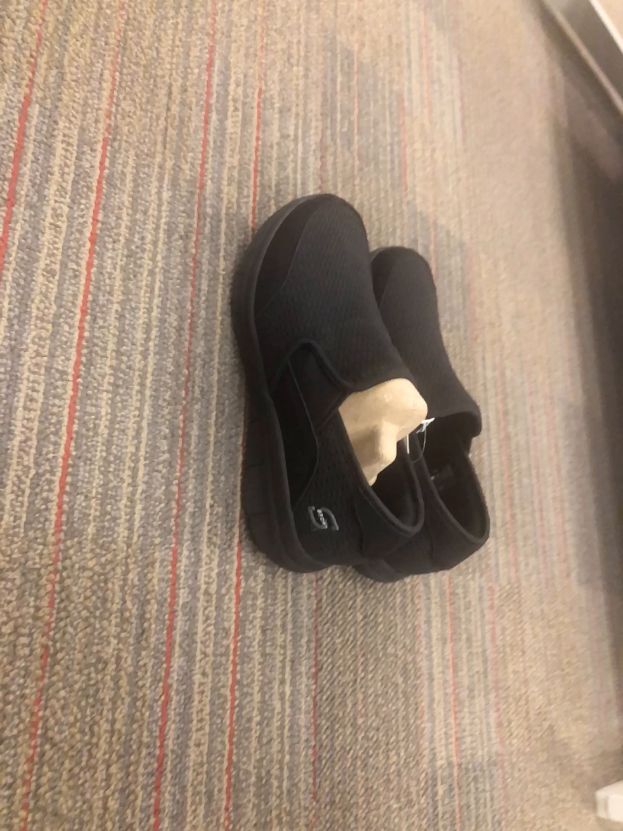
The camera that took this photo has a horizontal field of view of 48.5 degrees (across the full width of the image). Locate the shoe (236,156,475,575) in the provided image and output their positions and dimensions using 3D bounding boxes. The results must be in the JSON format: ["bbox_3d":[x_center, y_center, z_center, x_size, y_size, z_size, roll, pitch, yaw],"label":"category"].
[{"bbox_3d":[0.027,-0.023,0.487,0.117,0.105,0.257,14,68,-46],"label":"shoe"}]

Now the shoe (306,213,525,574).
[{"bbox_3d":[0.078,-0.006,0.546,0.121,0.108,0.247,16,67,-45],"label":"shoe"}]
